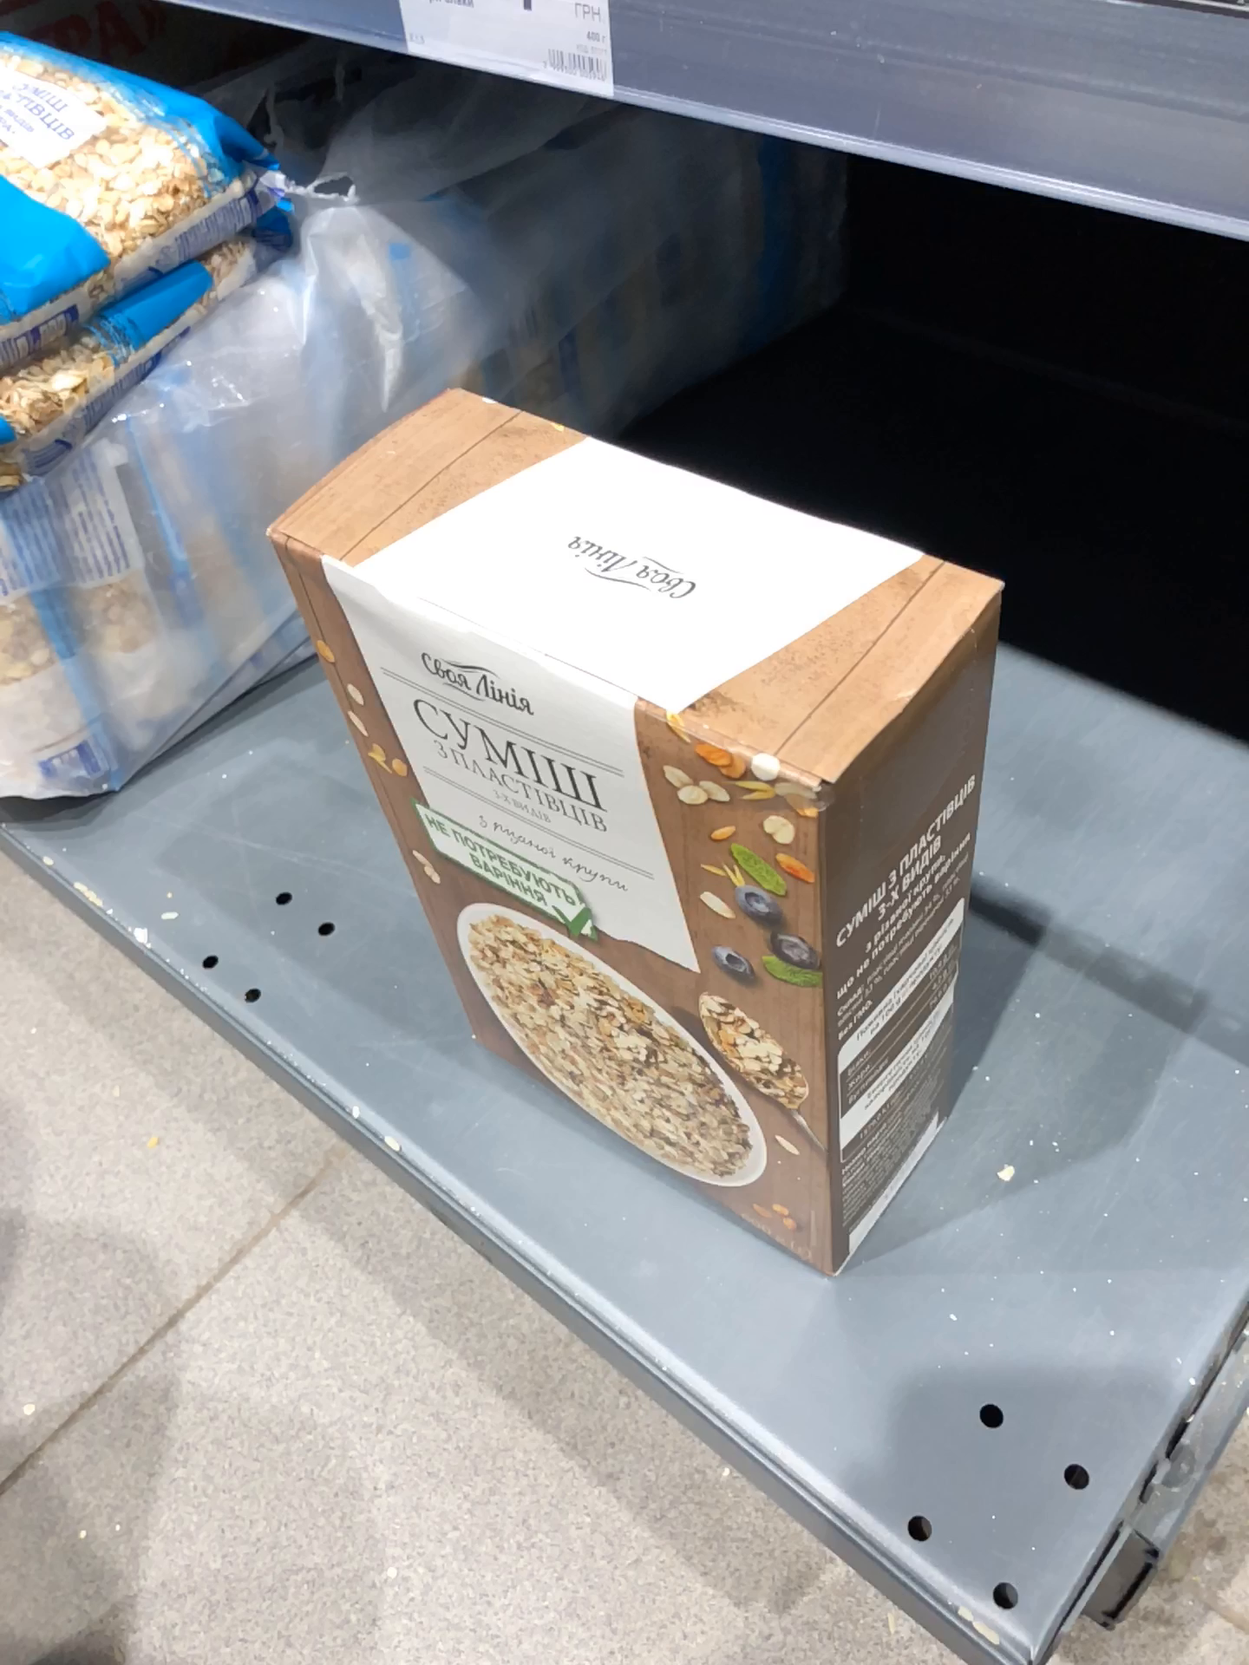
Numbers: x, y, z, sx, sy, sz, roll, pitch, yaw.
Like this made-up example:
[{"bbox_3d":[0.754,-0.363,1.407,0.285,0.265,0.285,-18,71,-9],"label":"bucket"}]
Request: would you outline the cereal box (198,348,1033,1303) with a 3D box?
[{"bbox_3d":[0.004,0.008,0.346,0.160,0.208,0.060,28,59,29],"label":"cereal box"}]
